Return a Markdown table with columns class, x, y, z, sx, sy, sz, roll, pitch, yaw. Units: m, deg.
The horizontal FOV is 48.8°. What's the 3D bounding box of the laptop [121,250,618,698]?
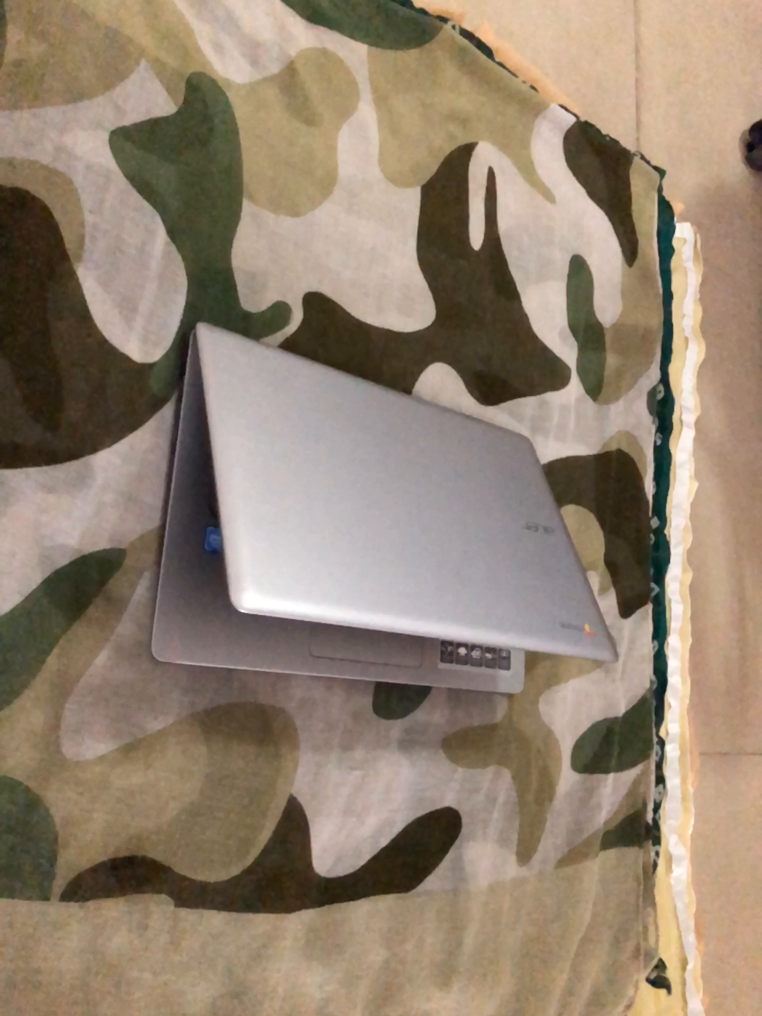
| class | x | y | z | sx | sy | sz | roll | pitch | yaw |
| --- | --- | --- | --- | --- | --- | --- | --- | --- | --- |
| laptop | 0.003 | 0.002 | 0.585 | 0.312 | 0.125 | 0.233 | 14 | 68 | -36 |
